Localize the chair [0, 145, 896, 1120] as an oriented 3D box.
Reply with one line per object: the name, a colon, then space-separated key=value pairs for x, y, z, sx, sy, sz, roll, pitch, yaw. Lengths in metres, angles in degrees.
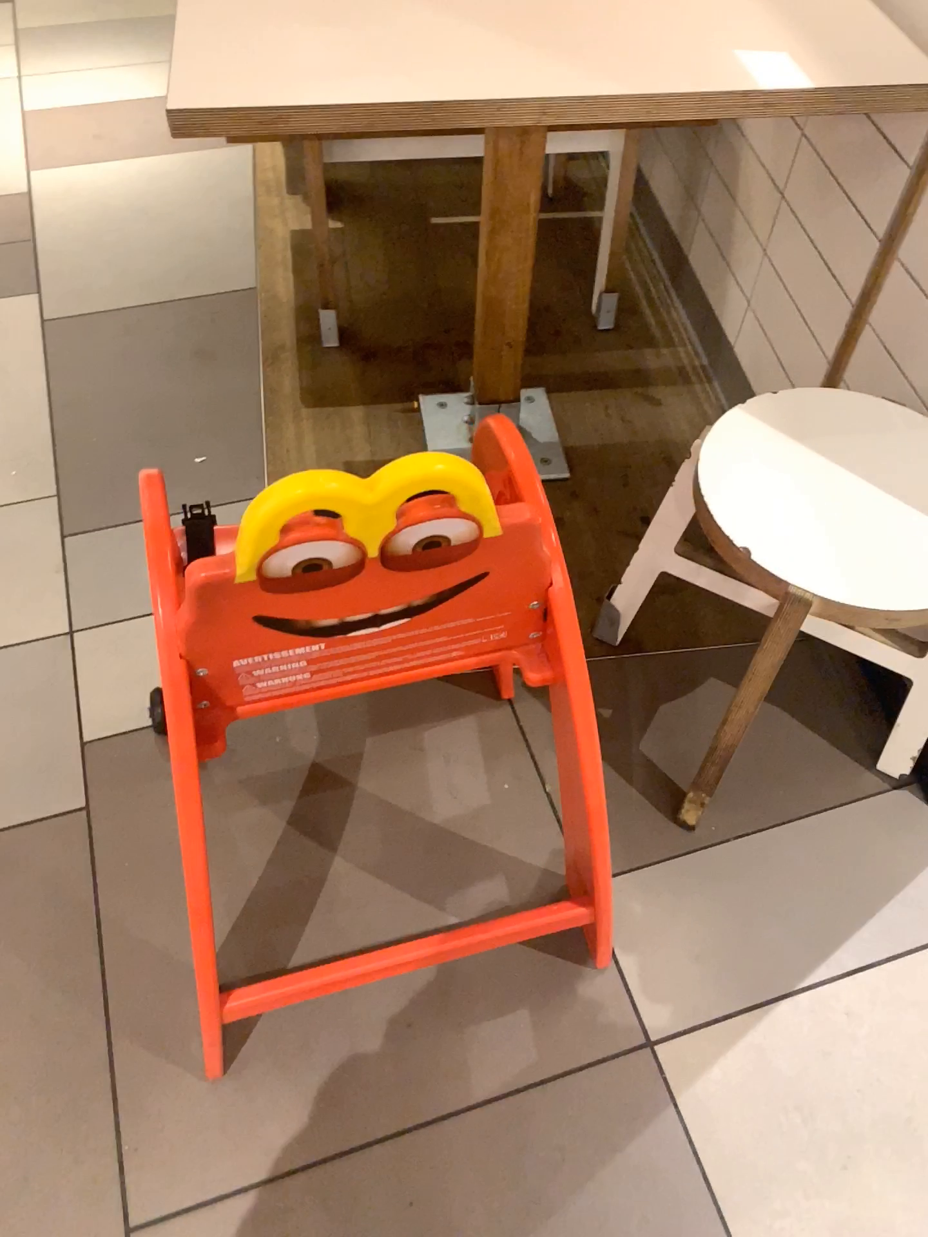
chair: x=-0.115 y=0.030 z=0.938 sx=0.580 sy=0.655 sz=0.584 roll=-13 pitch=54 yaw=-12

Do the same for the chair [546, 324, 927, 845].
chair: x=0.338 y=-0.031 z=1.138 sx=0.320 sy=0.446 sz=0.373 roll=-13 pitch=54 yaw=-12
